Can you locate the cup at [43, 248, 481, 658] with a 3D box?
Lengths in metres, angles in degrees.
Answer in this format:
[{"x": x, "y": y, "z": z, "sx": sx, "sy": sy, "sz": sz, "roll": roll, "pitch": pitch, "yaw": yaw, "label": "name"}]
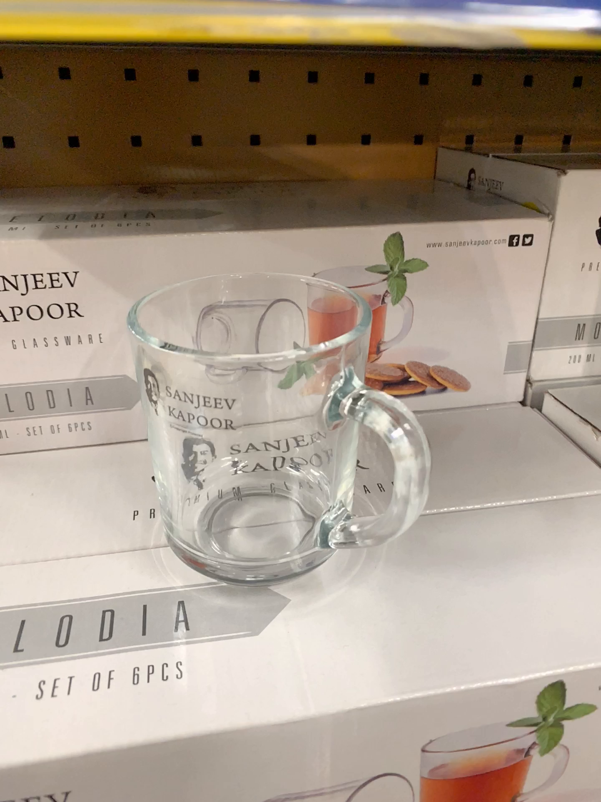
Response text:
[{"x": -0.009, "y": 0.006, "z": 0.191, "sx": 0.100, "sy": 0.080, "sz": 0.070, "roll": 14, "pitch": 29, "yaw": 24, "label": "cup"}]
